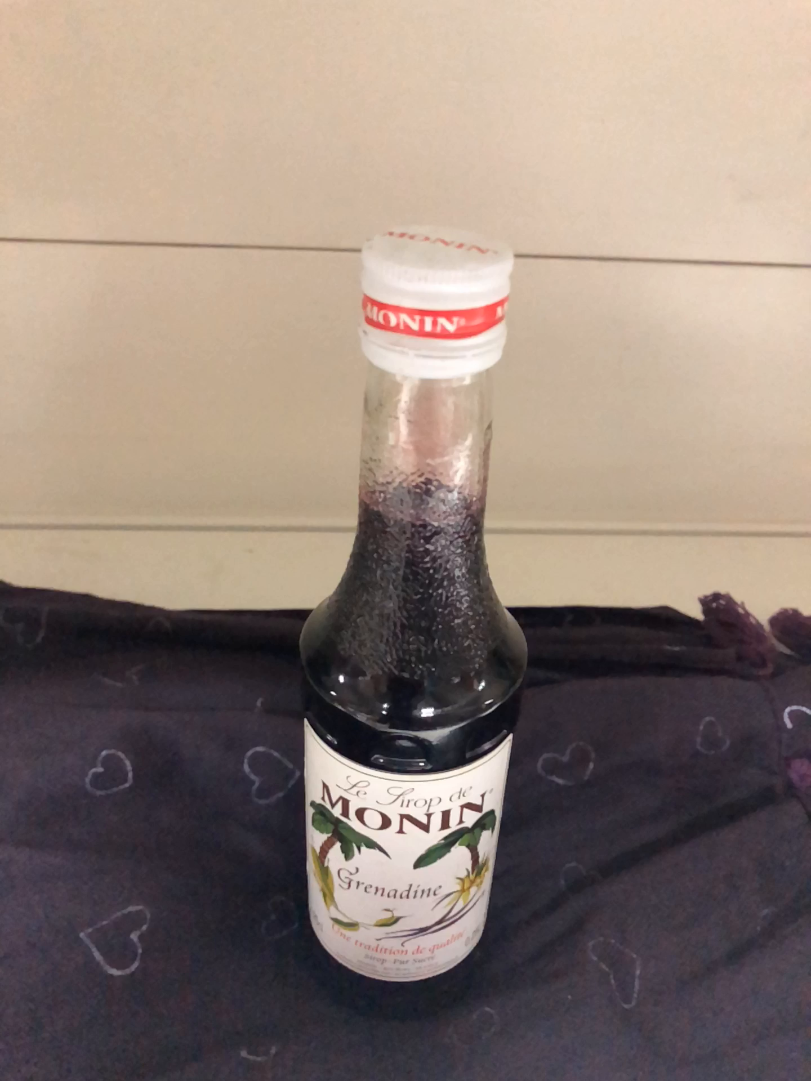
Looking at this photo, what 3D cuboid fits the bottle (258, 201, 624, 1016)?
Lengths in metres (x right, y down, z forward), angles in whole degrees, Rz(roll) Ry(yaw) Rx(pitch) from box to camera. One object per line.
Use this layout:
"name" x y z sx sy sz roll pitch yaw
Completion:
"bottle" 0.001 0.028 0.223 0.060 0.199 0.060 2 30 -1
